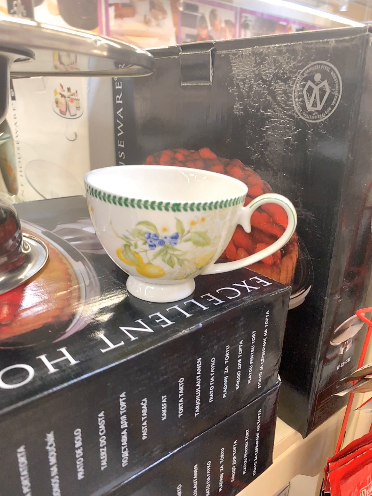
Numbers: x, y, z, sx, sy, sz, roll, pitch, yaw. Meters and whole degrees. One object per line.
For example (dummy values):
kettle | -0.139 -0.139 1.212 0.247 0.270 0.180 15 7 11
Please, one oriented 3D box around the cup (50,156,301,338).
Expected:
cup | 0.002 -0.012 0.249 0.130 0.070 0.100 8 22 14
